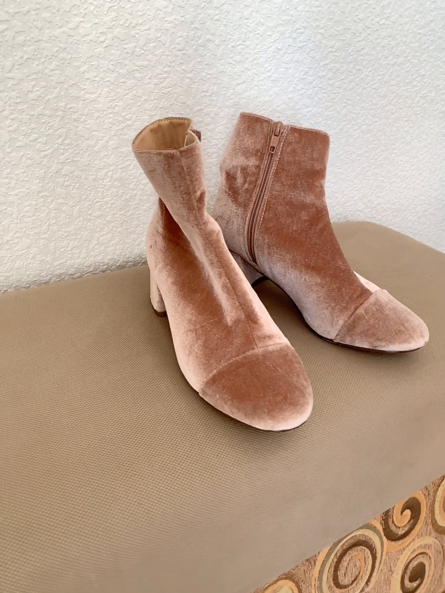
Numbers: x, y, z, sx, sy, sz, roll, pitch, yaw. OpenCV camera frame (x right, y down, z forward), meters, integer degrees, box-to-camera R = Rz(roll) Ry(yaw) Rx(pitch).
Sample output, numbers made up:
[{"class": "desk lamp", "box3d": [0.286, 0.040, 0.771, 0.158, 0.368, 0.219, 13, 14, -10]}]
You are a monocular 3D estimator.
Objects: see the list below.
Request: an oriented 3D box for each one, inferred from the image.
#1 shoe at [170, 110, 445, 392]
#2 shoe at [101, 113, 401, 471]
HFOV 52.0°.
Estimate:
[{"class": "shoe", "box3d": [0.079, -0.064, 0.437, 0.271, 0.169, 0.100, 27, 39, 34]}, {"class": "shoe", "box3d": [-0.006, -0.028, 0.351, 0.100, 0.169, 0.231, -13, 35, -24]}]
